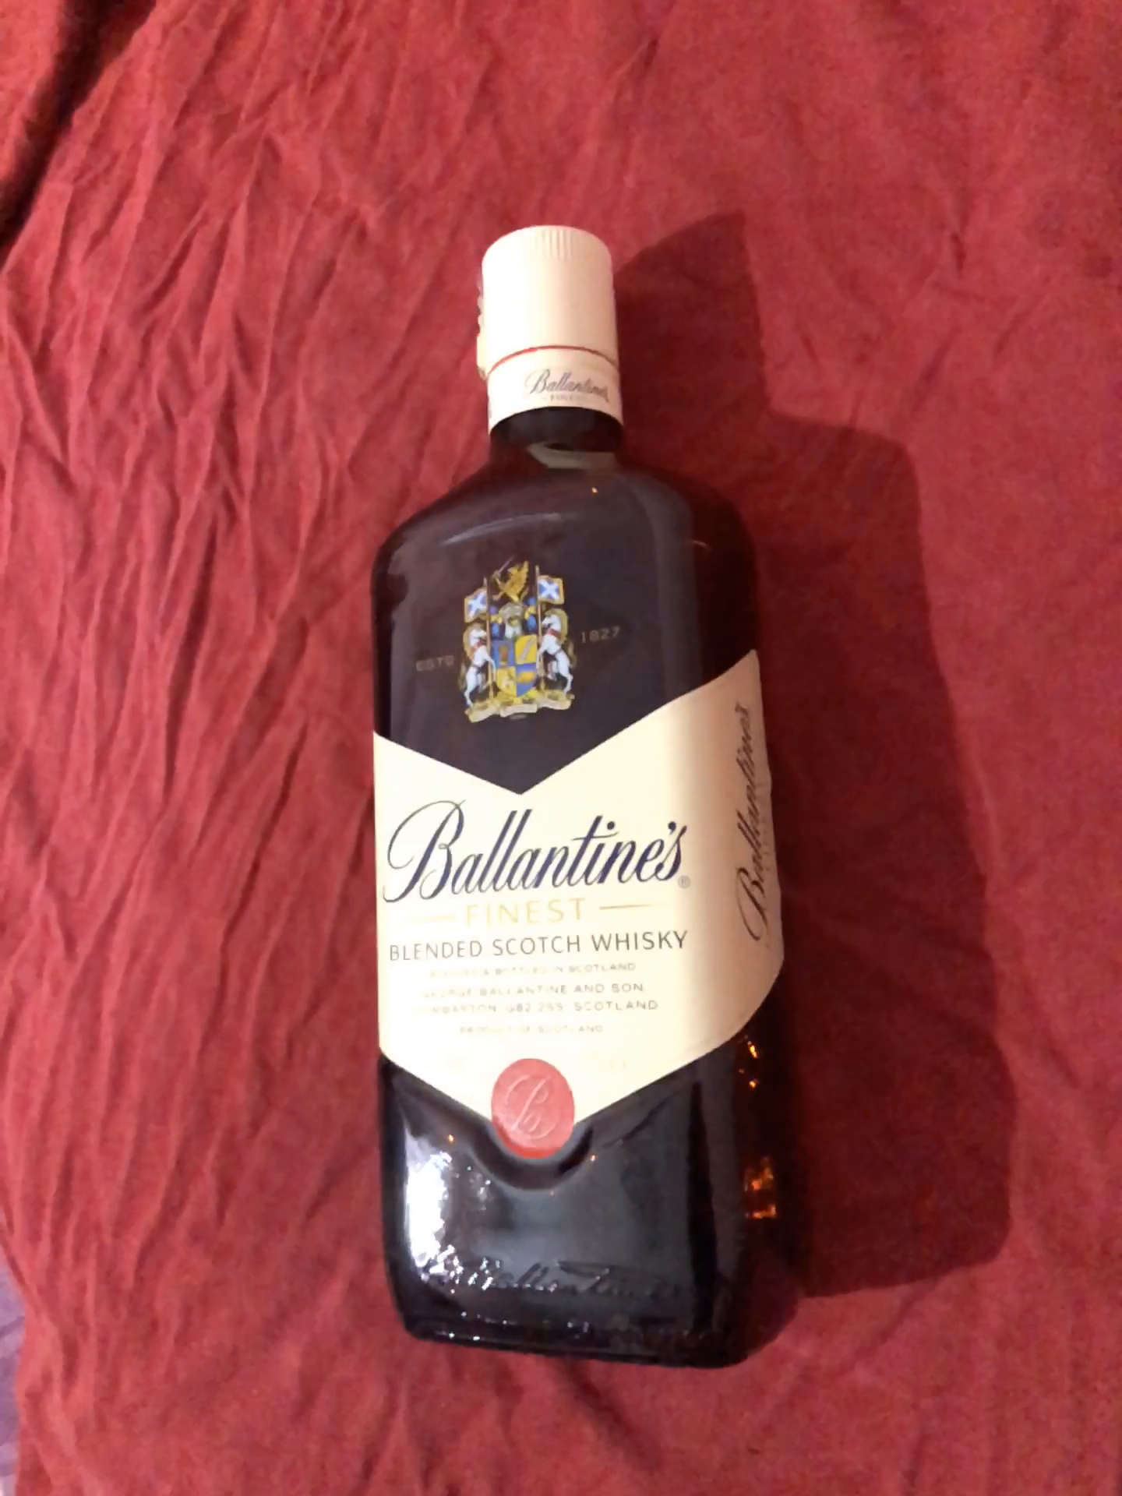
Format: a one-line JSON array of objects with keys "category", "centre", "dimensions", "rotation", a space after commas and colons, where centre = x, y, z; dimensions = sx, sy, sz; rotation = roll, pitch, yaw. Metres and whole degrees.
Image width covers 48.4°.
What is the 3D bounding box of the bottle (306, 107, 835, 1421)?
[{"category": "bottle", "centre": [0.000, 0.001, 0.276], "dimensions": [0.090, 0.050, 0.250], "rotation": [-7, 81, 22]}]
